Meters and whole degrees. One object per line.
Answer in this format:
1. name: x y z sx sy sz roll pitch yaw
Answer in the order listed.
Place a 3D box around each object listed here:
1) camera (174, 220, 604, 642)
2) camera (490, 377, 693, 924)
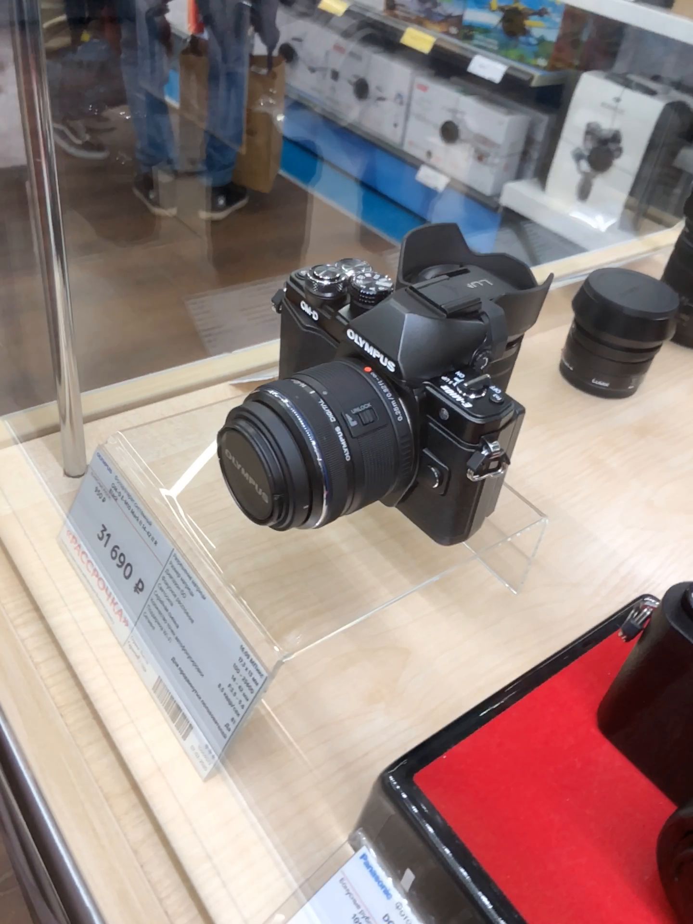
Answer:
1. camera: 0.007 -0.021 0.296 0.101 0.088 0.118 -21 48 -32
2. camera: 0.113 0.064 0.180 0.072 0.109 0.118 -21 48 -32
